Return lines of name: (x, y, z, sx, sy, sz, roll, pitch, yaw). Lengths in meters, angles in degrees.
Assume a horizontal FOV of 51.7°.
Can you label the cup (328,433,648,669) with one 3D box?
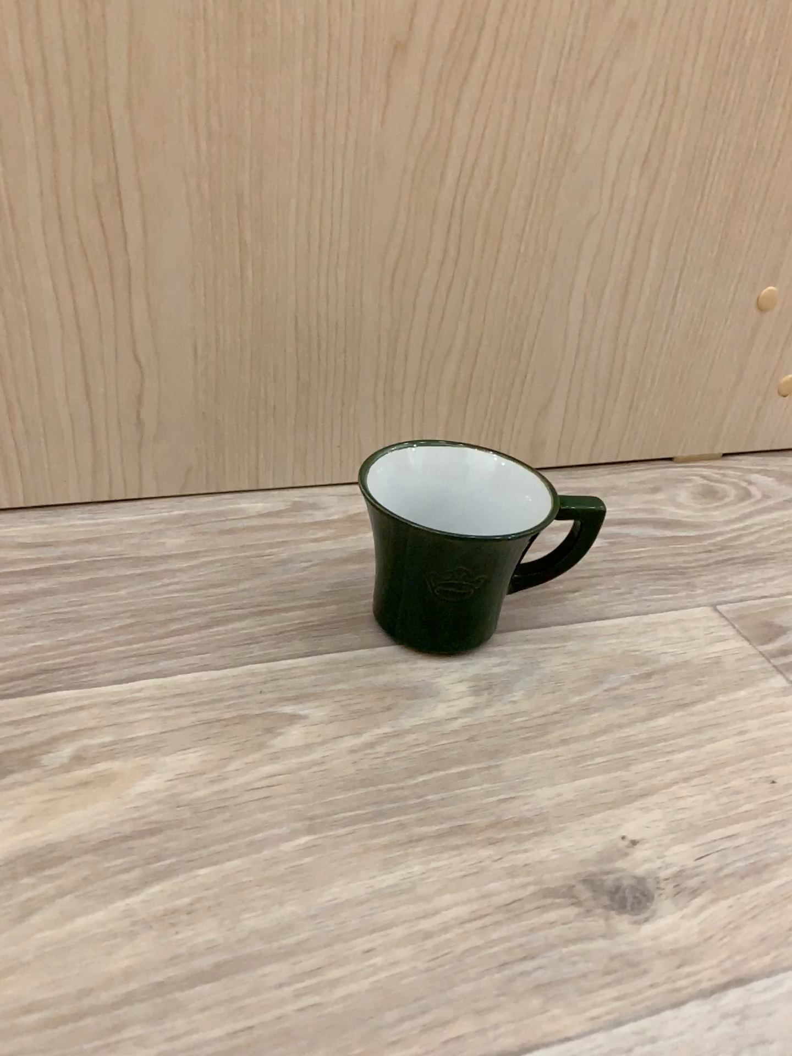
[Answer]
cup: (0.033, 0.005, 0.344, 0.106, 0.061, 0.075, -4, 32, -17)
